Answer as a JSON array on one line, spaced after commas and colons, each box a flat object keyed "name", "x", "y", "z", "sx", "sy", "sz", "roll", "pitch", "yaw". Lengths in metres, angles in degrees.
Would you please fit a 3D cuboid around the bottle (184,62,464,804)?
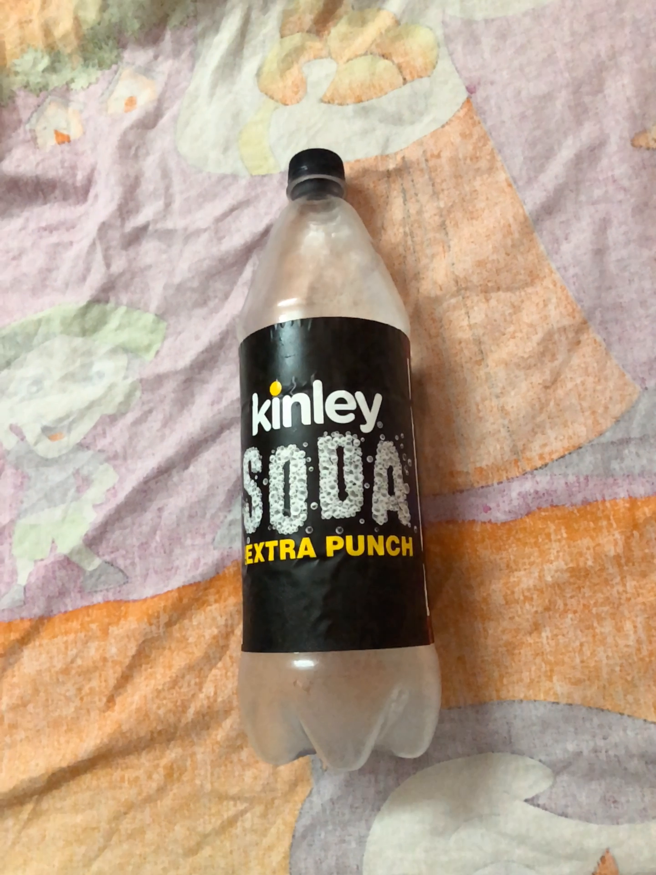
[{"name": "bottle", "x": -0.001, "y": -0.004, "z": 0.317, "sx": 0.090, "sy": 0.080, "sz": 0.280, "roll": -5, "pitch": 81, "yaw": 8}]
